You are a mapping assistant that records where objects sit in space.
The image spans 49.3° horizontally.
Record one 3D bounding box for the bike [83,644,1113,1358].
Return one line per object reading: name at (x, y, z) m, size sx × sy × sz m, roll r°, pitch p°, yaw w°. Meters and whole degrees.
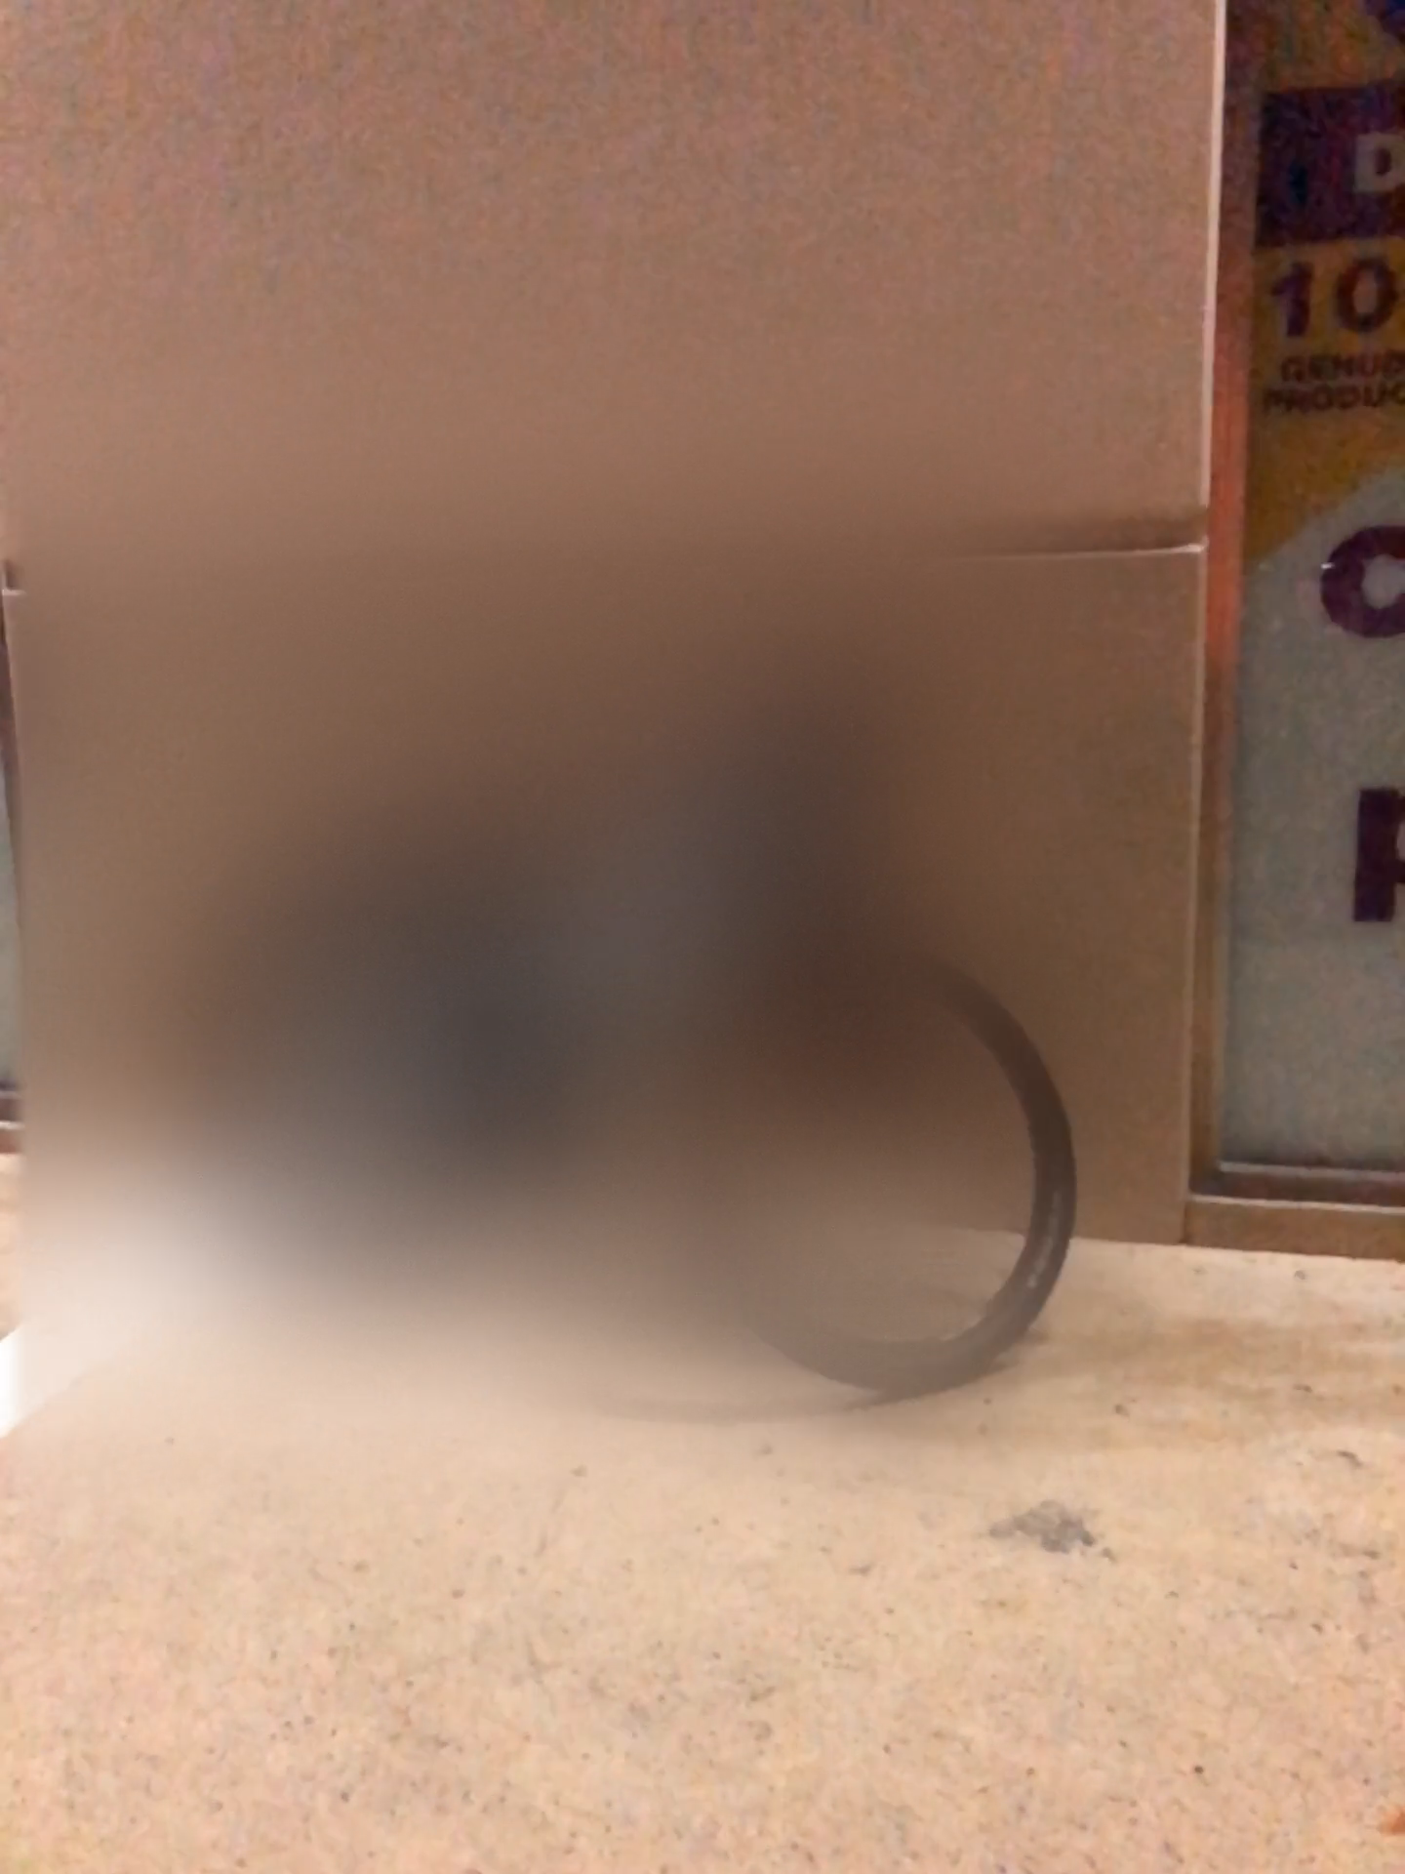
bike at (-0.155, 0.051, 2.740) m, size 1.602 × 1.065 × 0.588 m, roll 1°, pitch 10°, yaw 17°
